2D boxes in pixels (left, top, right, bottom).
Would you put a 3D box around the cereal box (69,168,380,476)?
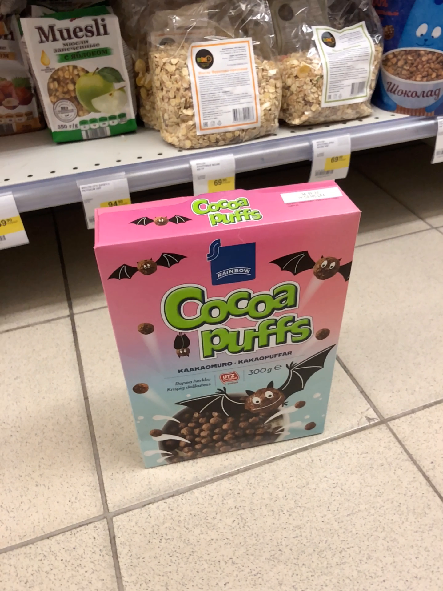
[{"bbox_3d":[0.004,0.038,0.432,0.210,0.268,0.060,-9,40,-8],"label":"cereal box"}]
